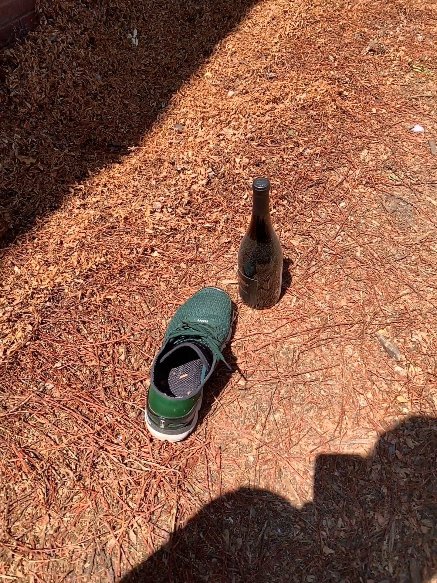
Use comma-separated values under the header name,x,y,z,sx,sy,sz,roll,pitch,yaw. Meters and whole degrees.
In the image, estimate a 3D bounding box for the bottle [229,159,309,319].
name,x,y,z,sx,sy,sz,roll,pitch,yaw
bottle,0.078,-0.083,0.797,0.090,0.269,0.101,-15,50,-12
